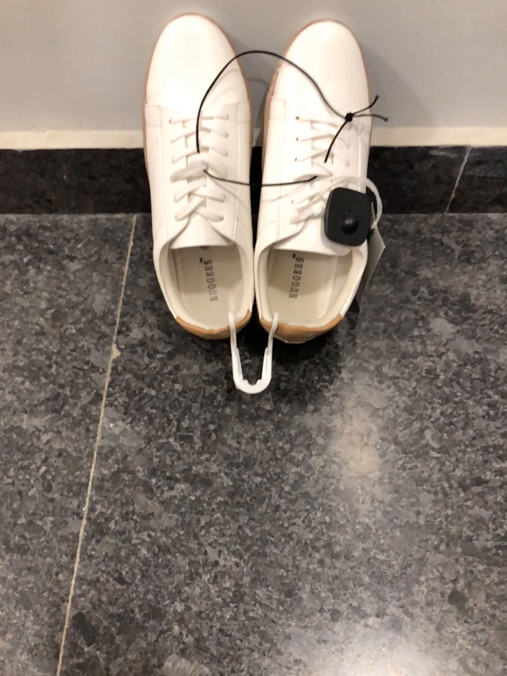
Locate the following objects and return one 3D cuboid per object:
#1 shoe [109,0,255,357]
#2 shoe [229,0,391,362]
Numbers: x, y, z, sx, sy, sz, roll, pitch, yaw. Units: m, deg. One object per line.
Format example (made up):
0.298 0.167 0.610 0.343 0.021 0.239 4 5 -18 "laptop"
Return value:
-0.053 -0.126 0.475 0.101 0.087 0.272 -1 96 1 "shoe"
0.039 -0.125 0.479 0.107 0.104 0.273 2 97 -3 "shoe"
